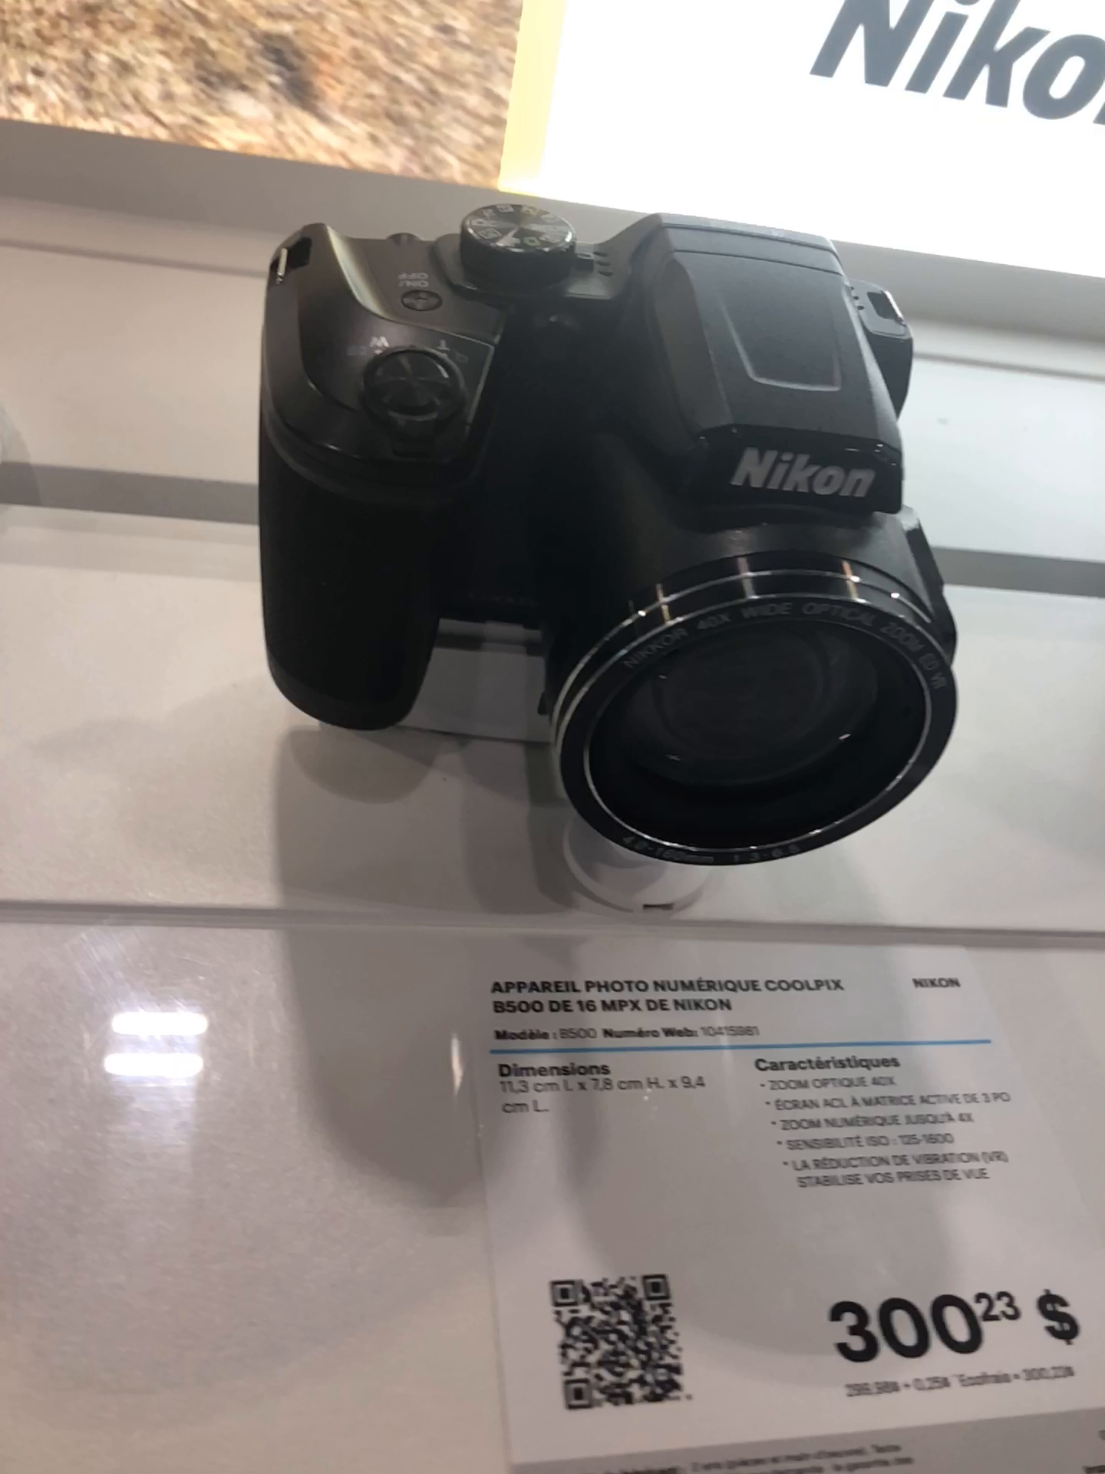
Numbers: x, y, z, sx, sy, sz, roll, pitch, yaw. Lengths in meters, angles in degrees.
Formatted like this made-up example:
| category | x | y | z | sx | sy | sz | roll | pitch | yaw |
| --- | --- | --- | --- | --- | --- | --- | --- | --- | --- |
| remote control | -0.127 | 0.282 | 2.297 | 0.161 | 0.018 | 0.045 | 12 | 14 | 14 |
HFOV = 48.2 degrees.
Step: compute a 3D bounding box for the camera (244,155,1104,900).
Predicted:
| category | x | y | z | sx | sy | sz | roll | pitch | yaw |
| --- | --- | --- | --- | --- | --- | --- | --- | --- | --- |
| camera | 0.013 | -0.032 | 0.190 | 0.111 | 0.069 | 0.085 | 3 | 41 | -11 |
